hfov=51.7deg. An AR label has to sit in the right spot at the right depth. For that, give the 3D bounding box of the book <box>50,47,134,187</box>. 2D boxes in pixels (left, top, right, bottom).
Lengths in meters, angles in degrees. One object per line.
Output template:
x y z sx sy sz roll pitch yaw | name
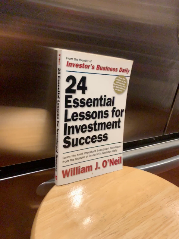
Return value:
0.005 -0.002 0.347 0.150 0.229 0.030 -4 15 -30 | book
